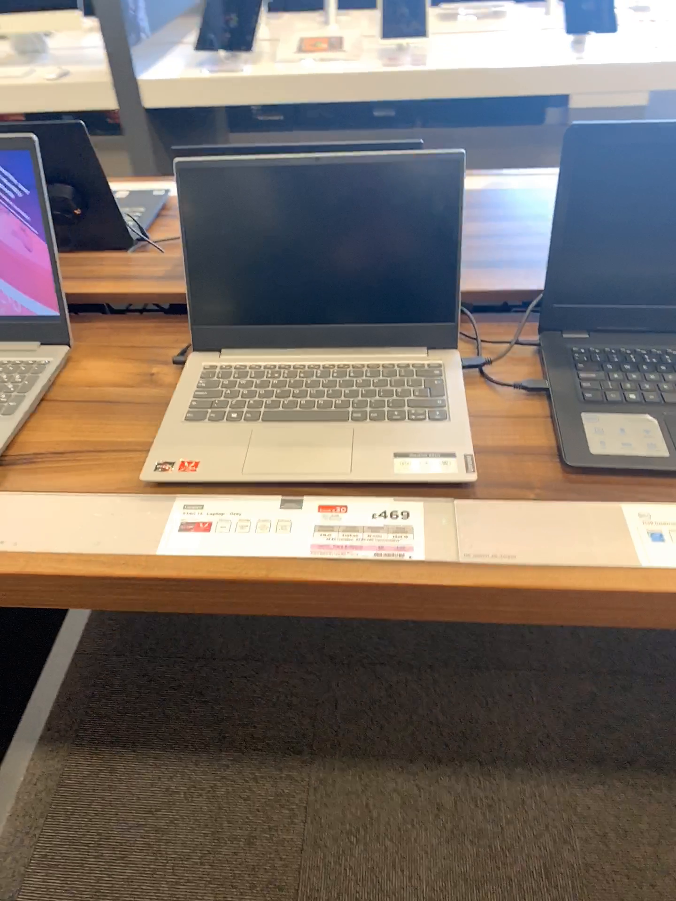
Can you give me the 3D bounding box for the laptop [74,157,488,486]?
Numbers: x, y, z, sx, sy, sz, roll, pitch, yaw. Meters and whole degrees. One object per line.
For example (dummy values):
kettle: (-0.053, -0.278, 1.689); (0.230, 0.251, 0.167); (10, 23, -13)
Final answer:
laptop: (-0.034, -0.142, 0.699); (0.315, 0.199, 0.296); (0, 40, 5)
